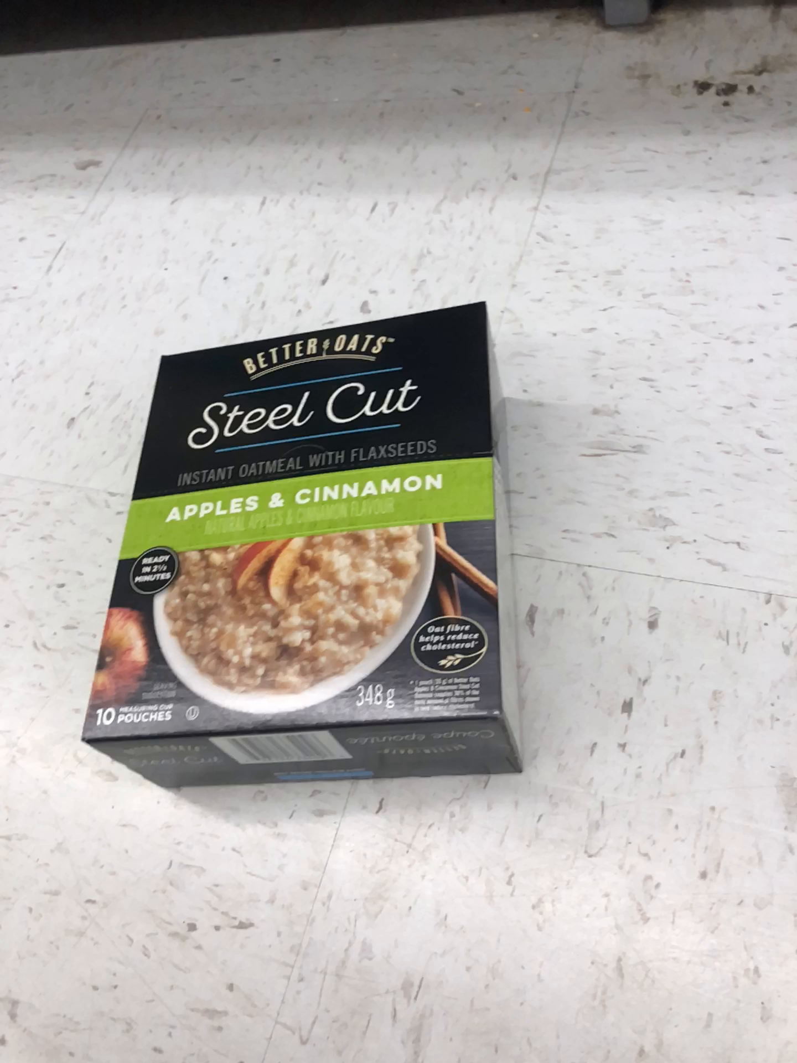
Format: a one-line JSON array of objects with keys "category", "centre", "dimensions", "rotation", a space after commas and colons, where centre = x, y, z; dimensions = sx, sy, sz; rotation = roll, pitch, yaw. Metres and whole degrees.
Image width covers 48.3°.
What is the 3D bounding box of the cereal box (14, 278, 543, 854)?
[{"category": "cereal box", "centre": [-0.035, 0.011, 0.346], "dimensions": [0.160, 0.070, 0.200], "rotation": [-6, 58, 12]}]
